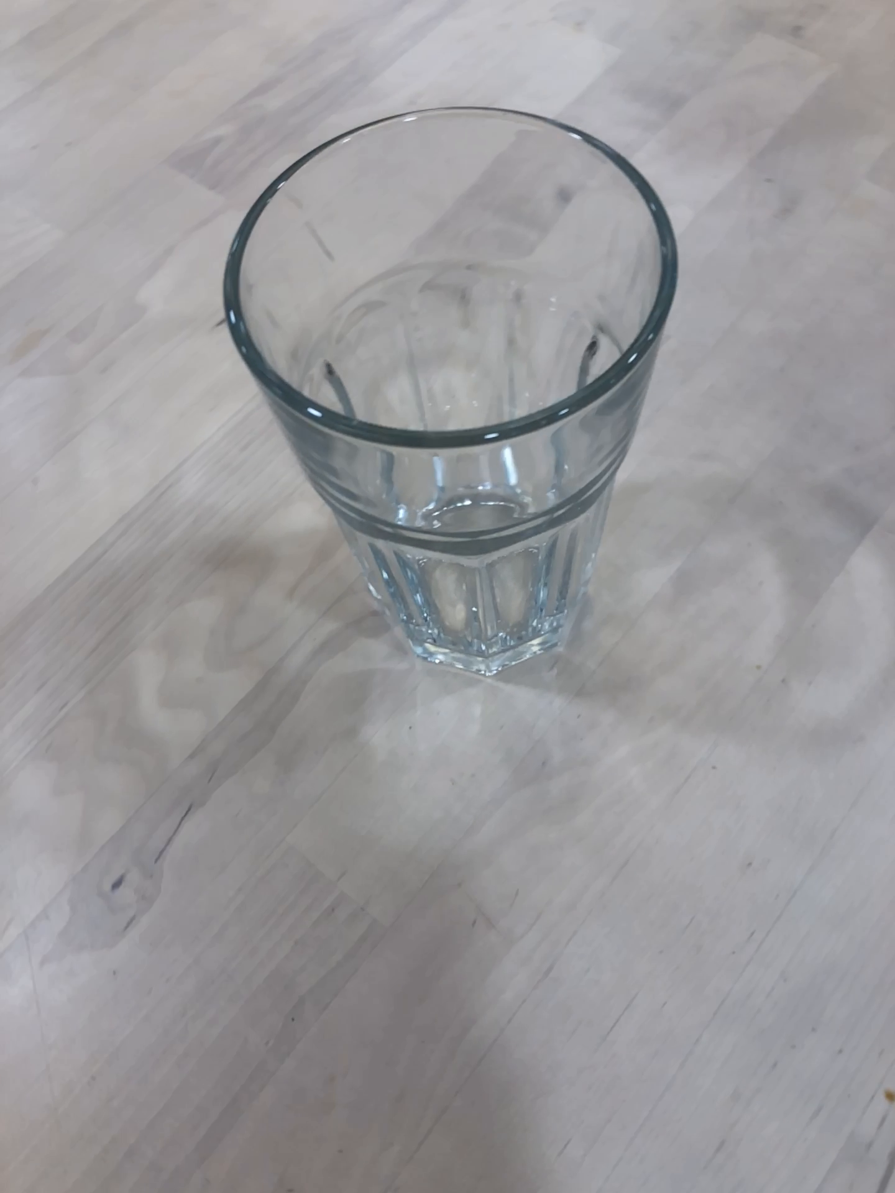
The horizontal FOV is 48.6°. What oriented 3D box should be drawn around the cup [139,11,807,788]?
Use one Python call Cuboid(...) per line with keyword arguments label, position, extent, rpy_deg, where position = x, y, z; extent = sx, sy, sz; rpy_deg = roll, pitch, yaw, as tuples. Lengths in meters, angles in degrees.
Cuboid(label="cup", position=(0.008, -0.035, 0.258), extent=(0.090, 0.159, 0.090), rpy_deg=(-2, 63, 4))
